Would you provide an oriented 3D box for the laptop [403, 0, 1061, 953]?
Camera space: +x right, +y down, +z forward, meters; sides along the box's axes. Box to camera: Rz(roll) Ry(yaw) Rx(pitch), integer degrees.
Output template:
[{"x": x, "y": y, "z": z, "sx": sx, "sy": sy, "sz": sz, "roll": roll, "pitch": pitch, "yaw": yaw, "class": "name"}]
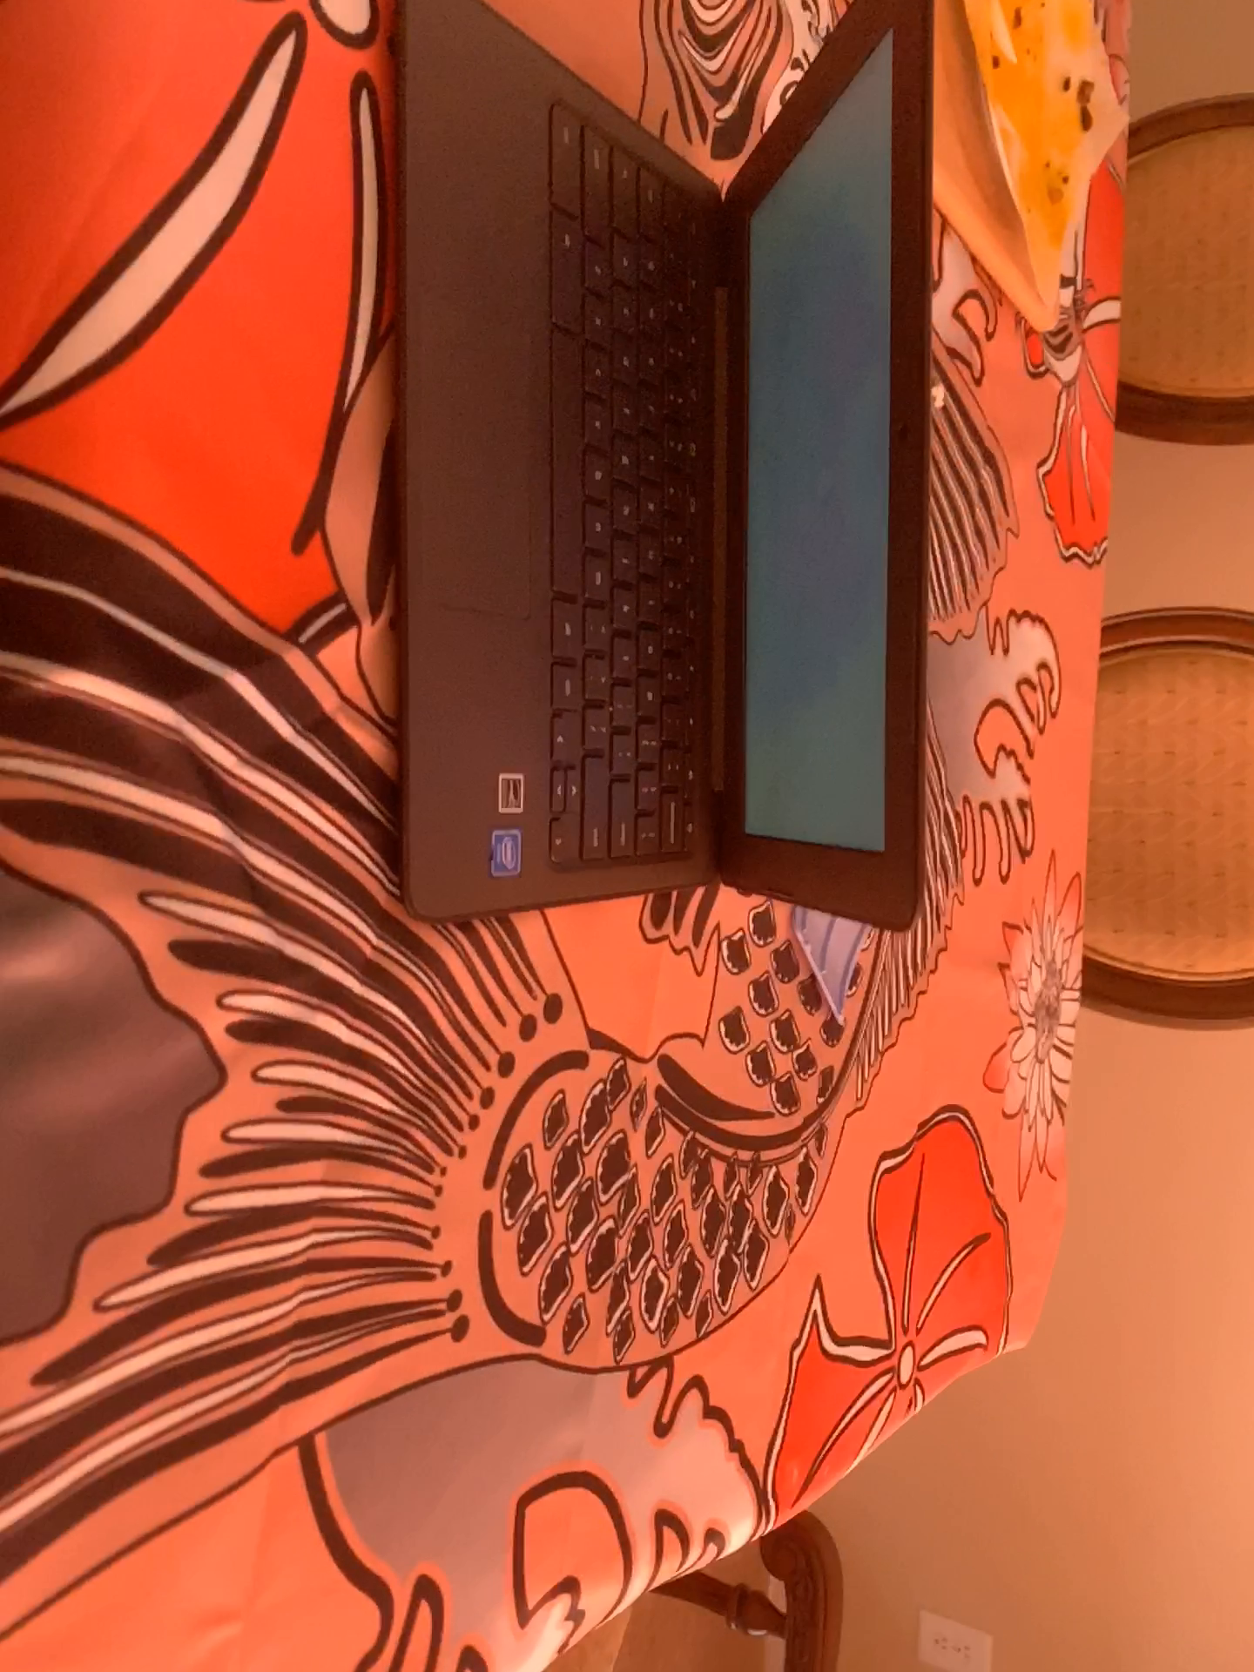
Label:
[{"x": 0.049, "y": -0.124, "z": 0.446, "sx": 0.212, "sy": 0.144, "sz": 0.299, "roll": -4, "pitch": 95, "yaw": -58, "class": "laptop"}]
